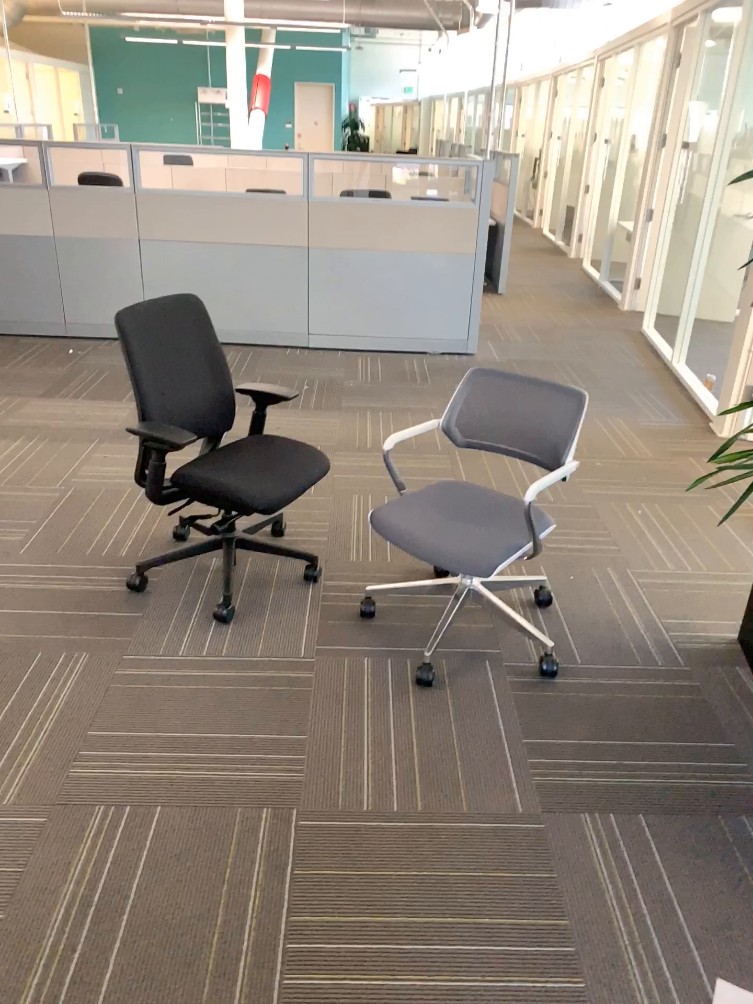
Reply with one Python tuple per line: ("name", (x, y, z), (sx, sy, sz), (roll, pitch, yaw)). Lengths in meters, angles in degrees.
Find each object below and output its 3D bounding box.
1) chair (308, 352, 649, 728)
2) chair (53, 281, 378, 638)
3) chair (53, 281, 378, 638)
("chair", (0.306, 0.046, 2.421), (0.732, 0.776, 0.753), (19, 30, 31))
("chair", (-0.498, -0.213, 2.708), (0.711, 0.915, 0.824), (12, 27, 19))
("chair", (-0.498, -0.213, 2.708), (0.711, 0.915, 0.824), (12, 27, 19))
